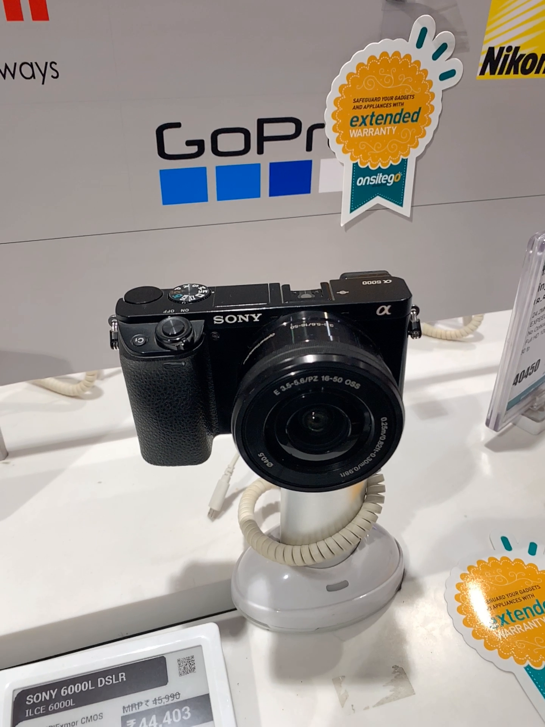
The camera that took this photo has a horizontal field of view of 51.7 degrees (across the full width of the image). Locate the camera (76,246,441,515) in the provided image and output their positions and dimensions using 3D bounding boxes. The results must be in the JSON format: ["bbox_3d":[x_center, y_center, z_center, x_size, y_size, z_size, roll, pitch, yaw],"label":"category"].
[{"bbox_3d":[-0.005,0.006,0.229,0.120,0.090,0.050,-3,32,-5],"label":"camera"}]
